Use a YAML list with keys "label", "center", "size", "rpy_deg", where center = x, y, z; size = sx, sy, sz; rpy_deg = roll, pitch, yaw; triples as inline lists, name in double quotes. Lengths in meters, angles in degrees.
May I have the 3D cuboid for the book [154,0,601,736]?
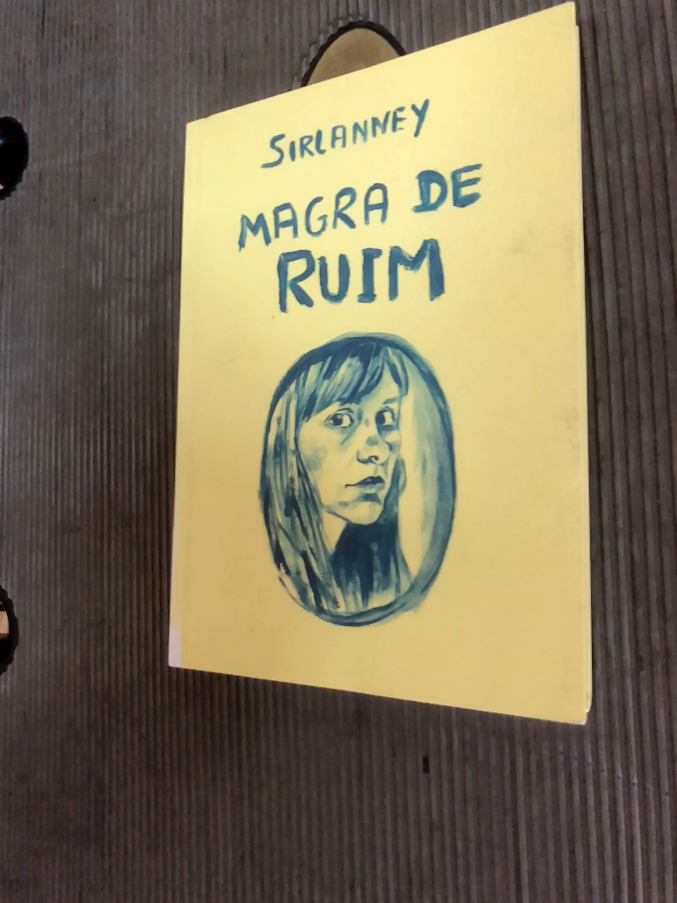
- label: "book"
  center: [0.006, -0.029, 0.249]
  size: [0.150, 0.020, 0.210]
  rpy_deg: [-1, 86, 29]
